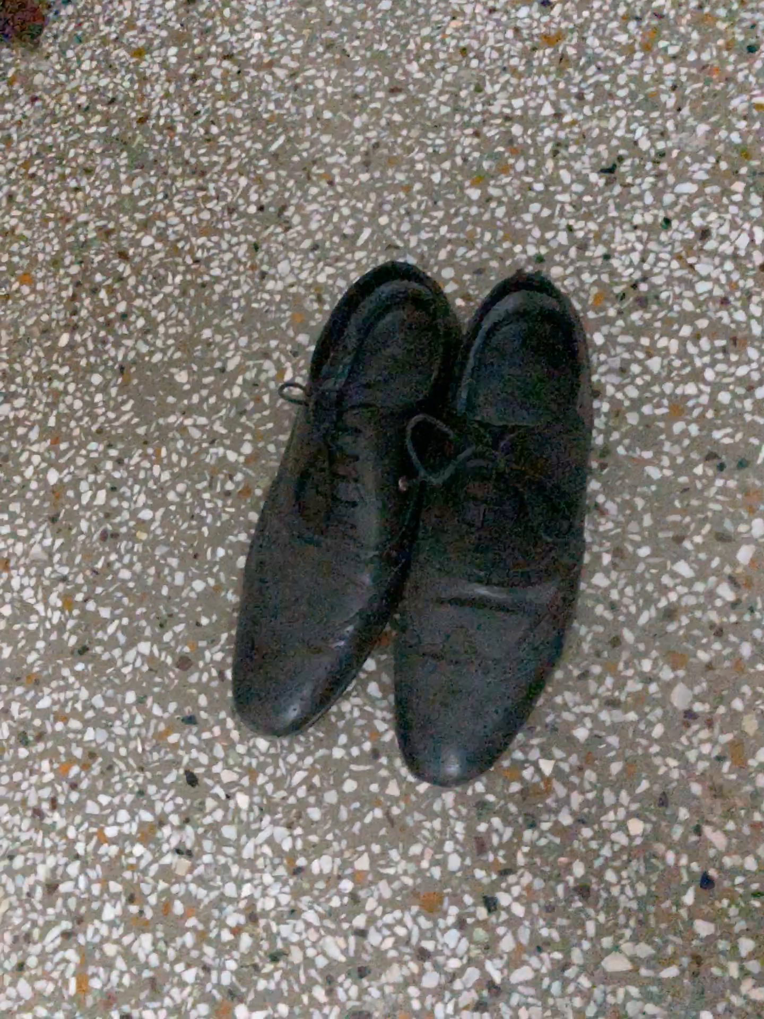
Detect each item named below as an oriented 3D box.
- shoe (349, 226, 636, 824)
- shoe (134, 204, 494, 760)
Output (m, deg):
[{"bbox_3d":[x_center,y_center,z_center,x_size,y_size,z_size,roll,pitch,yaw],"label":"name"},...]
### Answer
[{"bbox_3d":[0.074,0.003,0.465,0.100,0.100,0.319,8,76,15],"label":"shoe"},{"bbox_3d":[-0.028,-0.018,0.494,0.100,0.100,0.320,16,78,16],"label":"shoe"}]
